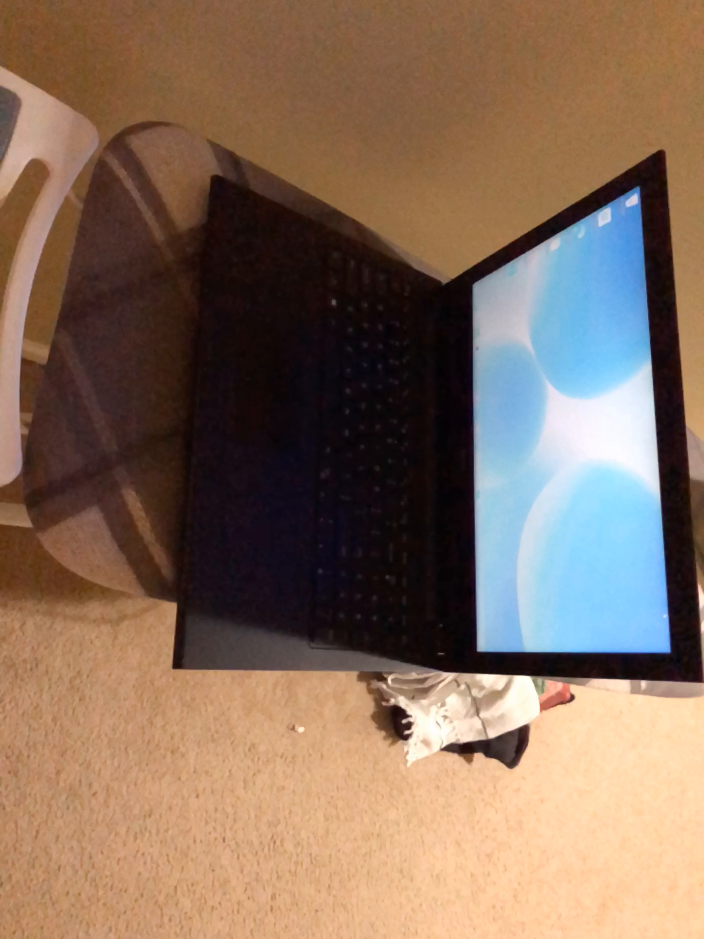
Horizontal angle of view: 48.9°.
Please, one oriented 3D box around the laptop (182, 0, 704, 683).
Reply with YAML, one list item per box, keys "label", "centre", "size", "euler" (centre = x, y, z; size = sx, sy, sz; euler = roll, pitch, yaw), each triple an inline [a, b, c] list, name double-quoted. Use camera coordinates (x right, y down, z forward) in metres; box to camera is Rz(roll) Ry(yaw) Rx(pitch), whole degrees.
- label: "laptop"
  centre: [0.064, -0.043, 0.528]
  size: [0.248, 0.231, 0.352]
  euler: [12, 73, -38]
